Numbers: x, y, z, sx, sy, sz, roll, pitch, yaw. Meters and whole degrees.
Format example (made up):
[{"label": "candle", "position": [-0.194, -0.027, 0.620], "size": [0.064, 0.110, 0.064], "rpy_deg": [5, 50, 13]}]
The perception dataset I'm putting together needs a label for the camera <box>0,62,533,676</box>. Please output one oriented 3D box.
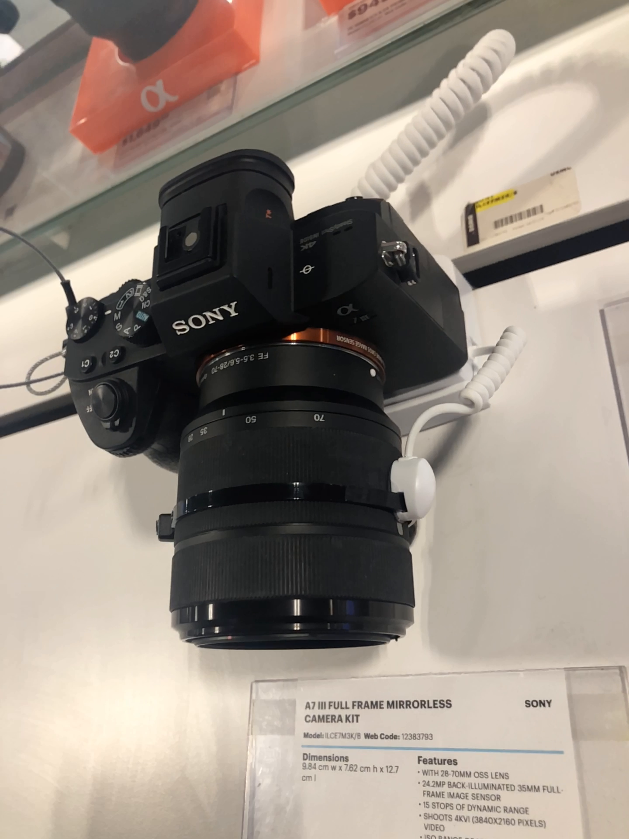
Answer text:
[{"label": "camera", "position": [-0.017, 0.001, 0.213], "size": [0.120, 0.099, 0.130], "rpy_deg": [-15, 60, 29]}]
